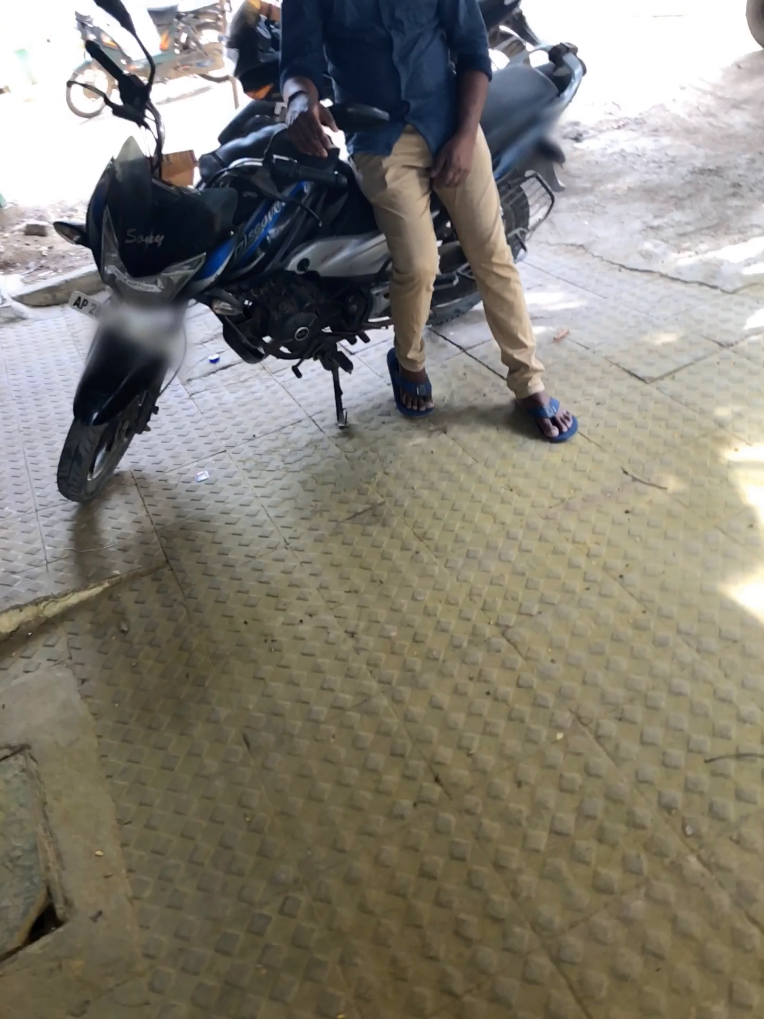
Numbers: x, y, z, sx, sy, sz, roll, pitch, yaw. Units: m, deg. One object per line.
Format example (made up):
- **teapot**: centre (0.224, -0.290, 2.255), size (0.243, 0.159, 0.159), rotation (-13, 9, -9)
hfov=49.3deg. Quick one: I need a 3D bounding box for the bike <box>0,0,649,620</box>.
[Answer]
- **bike**: centre (-0.141, -0.776, 2.342), size (1.749, 1.175, 0.785), rotation (-35, 42, -23)
